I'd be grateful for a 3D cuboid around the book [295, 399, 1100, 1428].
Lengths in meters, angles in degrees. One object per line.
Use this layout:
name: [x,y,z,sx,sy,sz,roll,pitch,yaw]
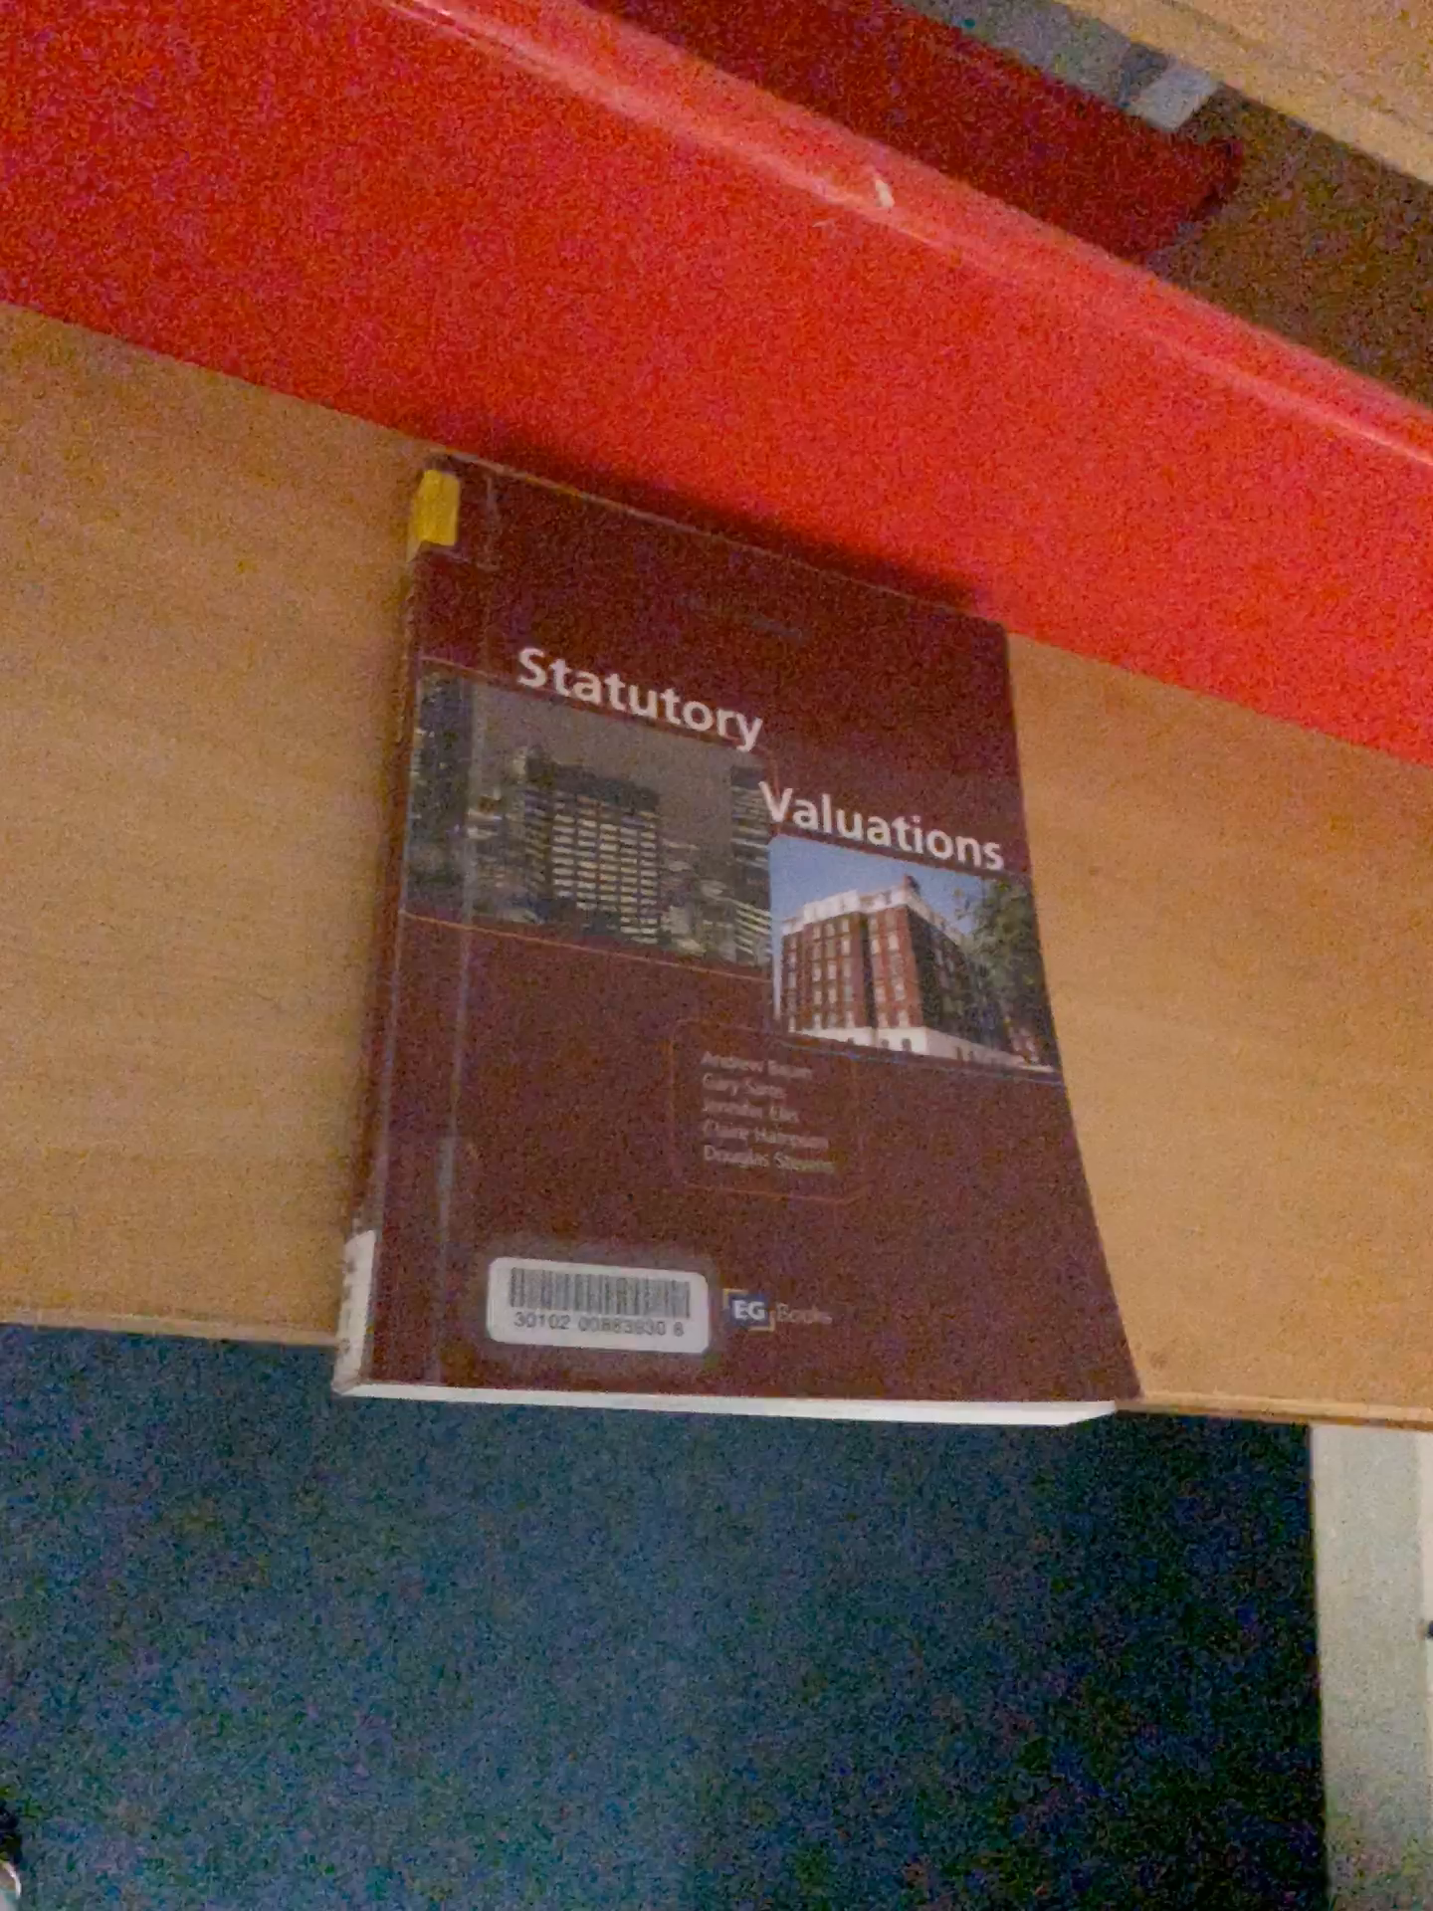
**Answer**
book: [0.000,-0.012,0.388,0.189,0.027,0.252,11,62,-24]
